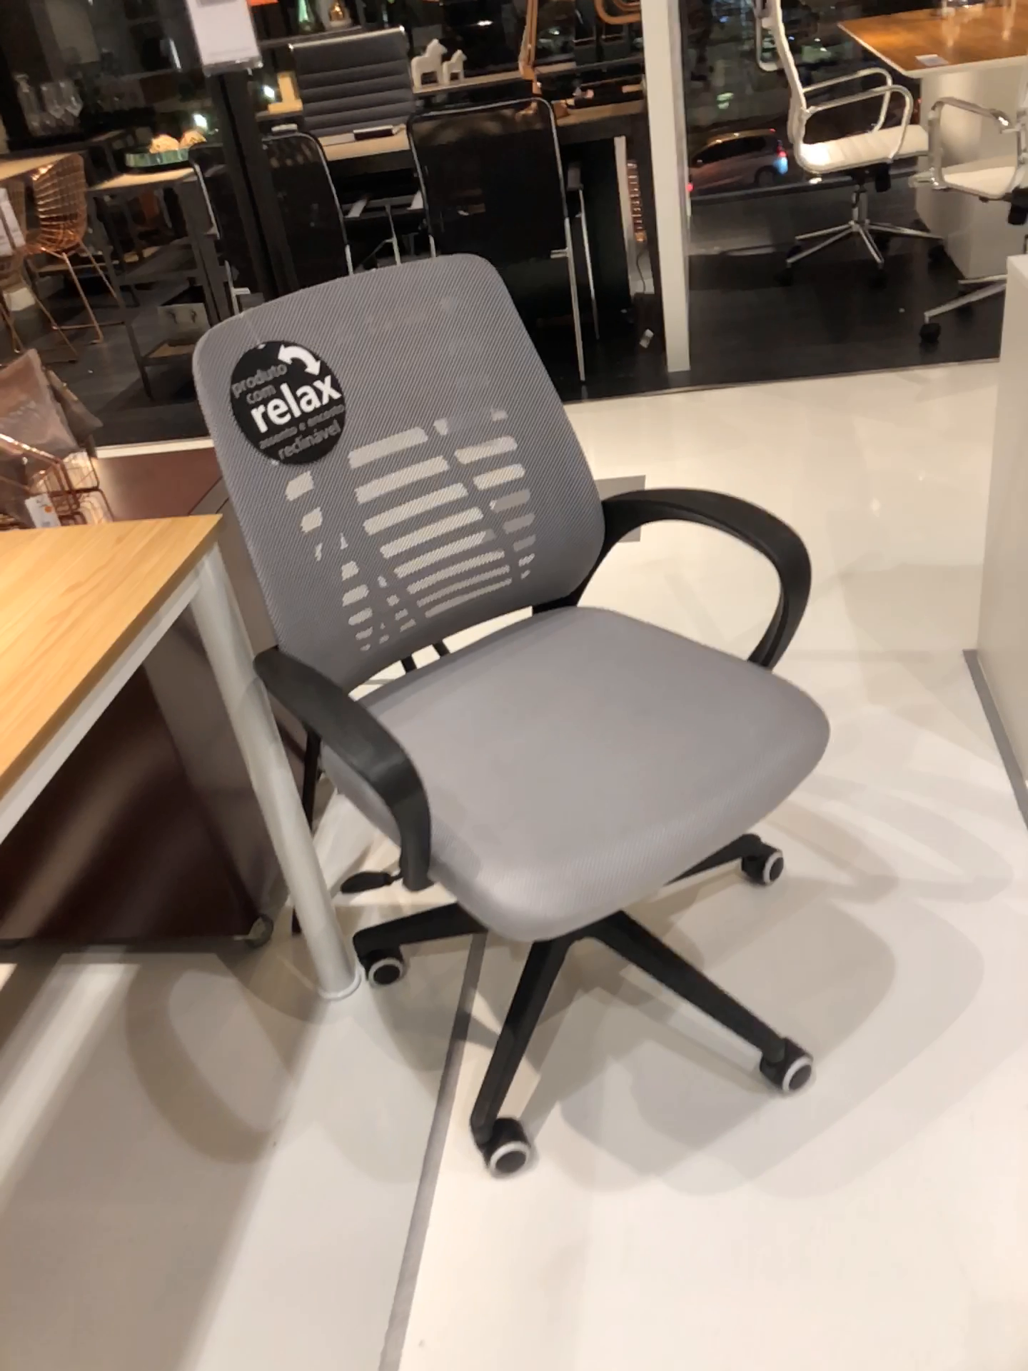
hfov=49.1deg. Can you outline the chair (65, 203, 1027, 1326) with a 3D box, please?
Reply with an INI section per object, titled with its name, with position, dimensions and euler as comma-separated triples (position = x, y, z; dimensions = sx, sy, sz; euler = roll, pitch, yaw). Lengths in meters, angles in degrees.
[chair]
position = 0.062, 0.007, 1.256
dimensions = 0.661, 0.853, 0.664
euler = -26, 35, -25
